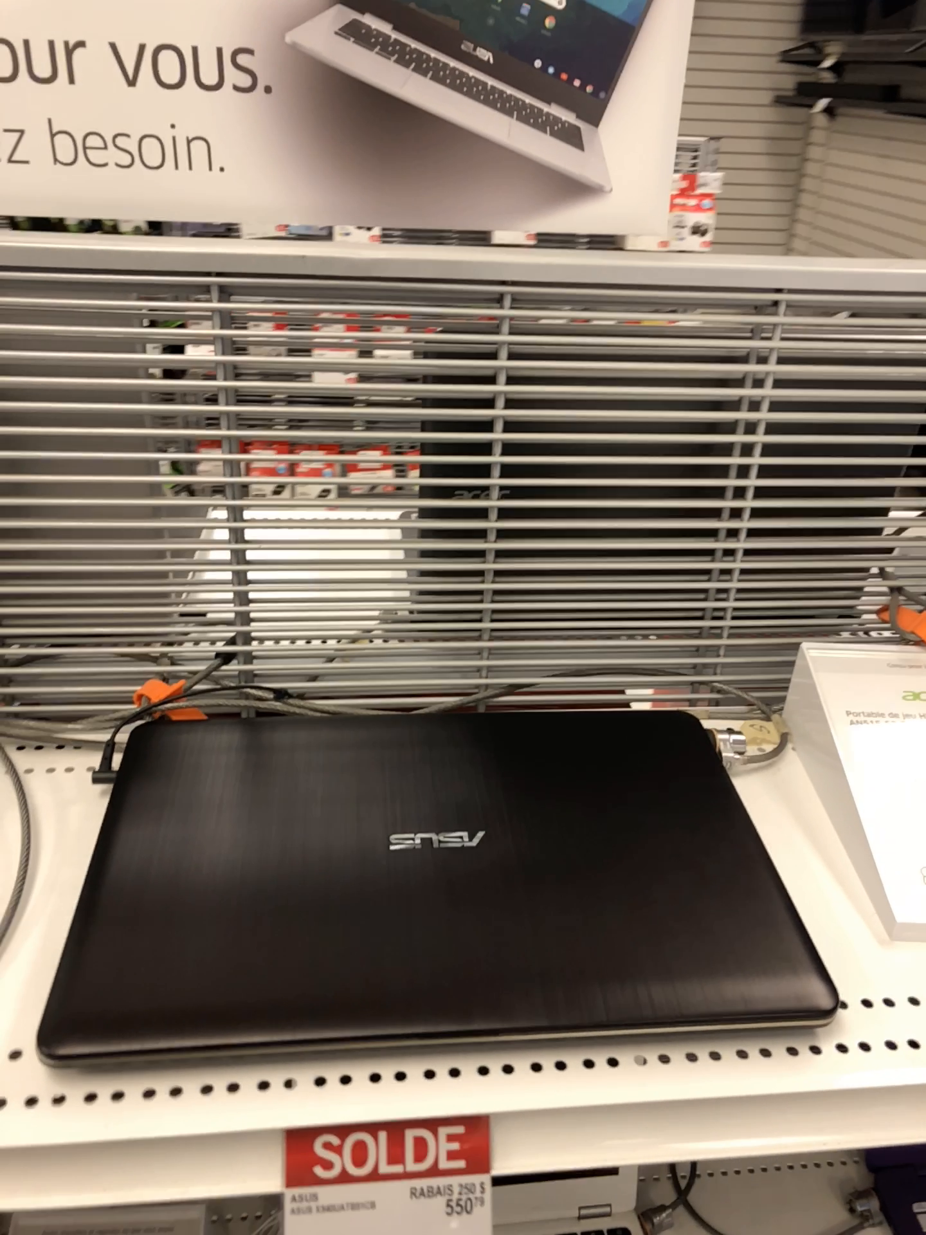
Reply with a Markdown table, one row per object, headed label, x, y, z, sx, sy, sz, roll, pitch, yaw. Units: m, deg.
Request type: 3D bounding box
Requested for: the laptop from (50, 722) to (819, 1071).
| label | x | y | z | sx | sy | sz | roll | pitch | yaw |
| --- | --- | --- | --- | --- | --- | --- | --- | --- | --- |
| laptop | -0.013 | 0.139 | 0.585 | 0.367 | 0.013 | 0.235 | 1 | 31 | -8 |
